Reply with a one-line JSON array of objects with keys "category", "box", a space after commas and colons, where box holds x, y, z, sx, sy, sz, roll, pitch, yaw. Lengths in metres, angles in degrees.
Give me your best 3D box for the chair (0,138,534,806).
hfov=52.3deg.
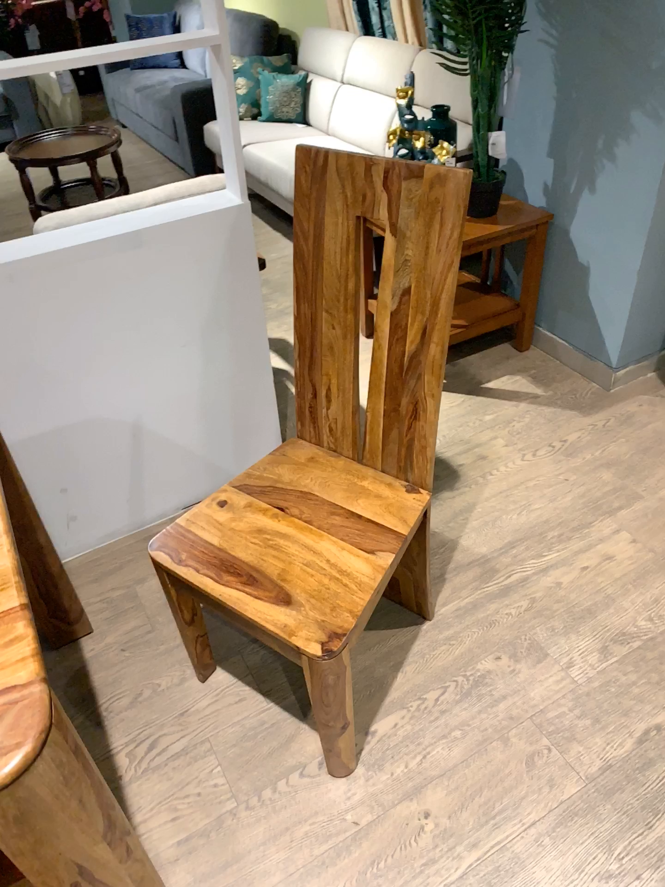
[{"category": "chair", "box": [-0.039, 0.053, 1.254, 0.501, 0.966, 0.602, 20, 45, 27]}]
